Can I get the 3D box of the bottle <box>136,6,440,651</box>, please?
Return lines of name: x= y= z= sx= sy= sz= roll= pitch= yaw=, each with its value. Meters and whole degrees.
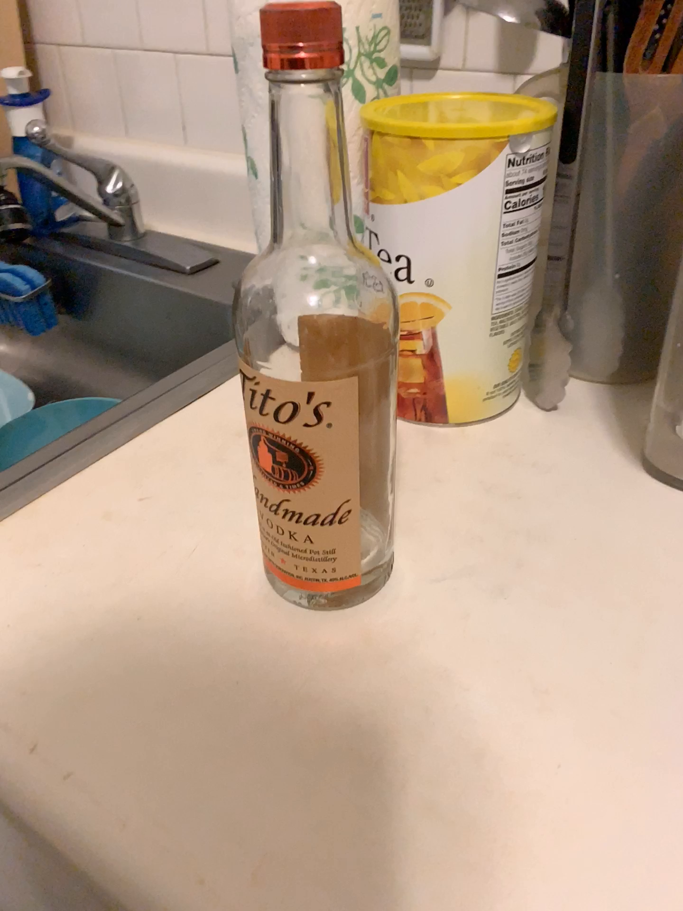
bottle: x=-0.018 y=-0.046 z=0.343 sx=0.080 sy=0.288 sz=0.080 roll=-1 pitch=34 yaw=0
